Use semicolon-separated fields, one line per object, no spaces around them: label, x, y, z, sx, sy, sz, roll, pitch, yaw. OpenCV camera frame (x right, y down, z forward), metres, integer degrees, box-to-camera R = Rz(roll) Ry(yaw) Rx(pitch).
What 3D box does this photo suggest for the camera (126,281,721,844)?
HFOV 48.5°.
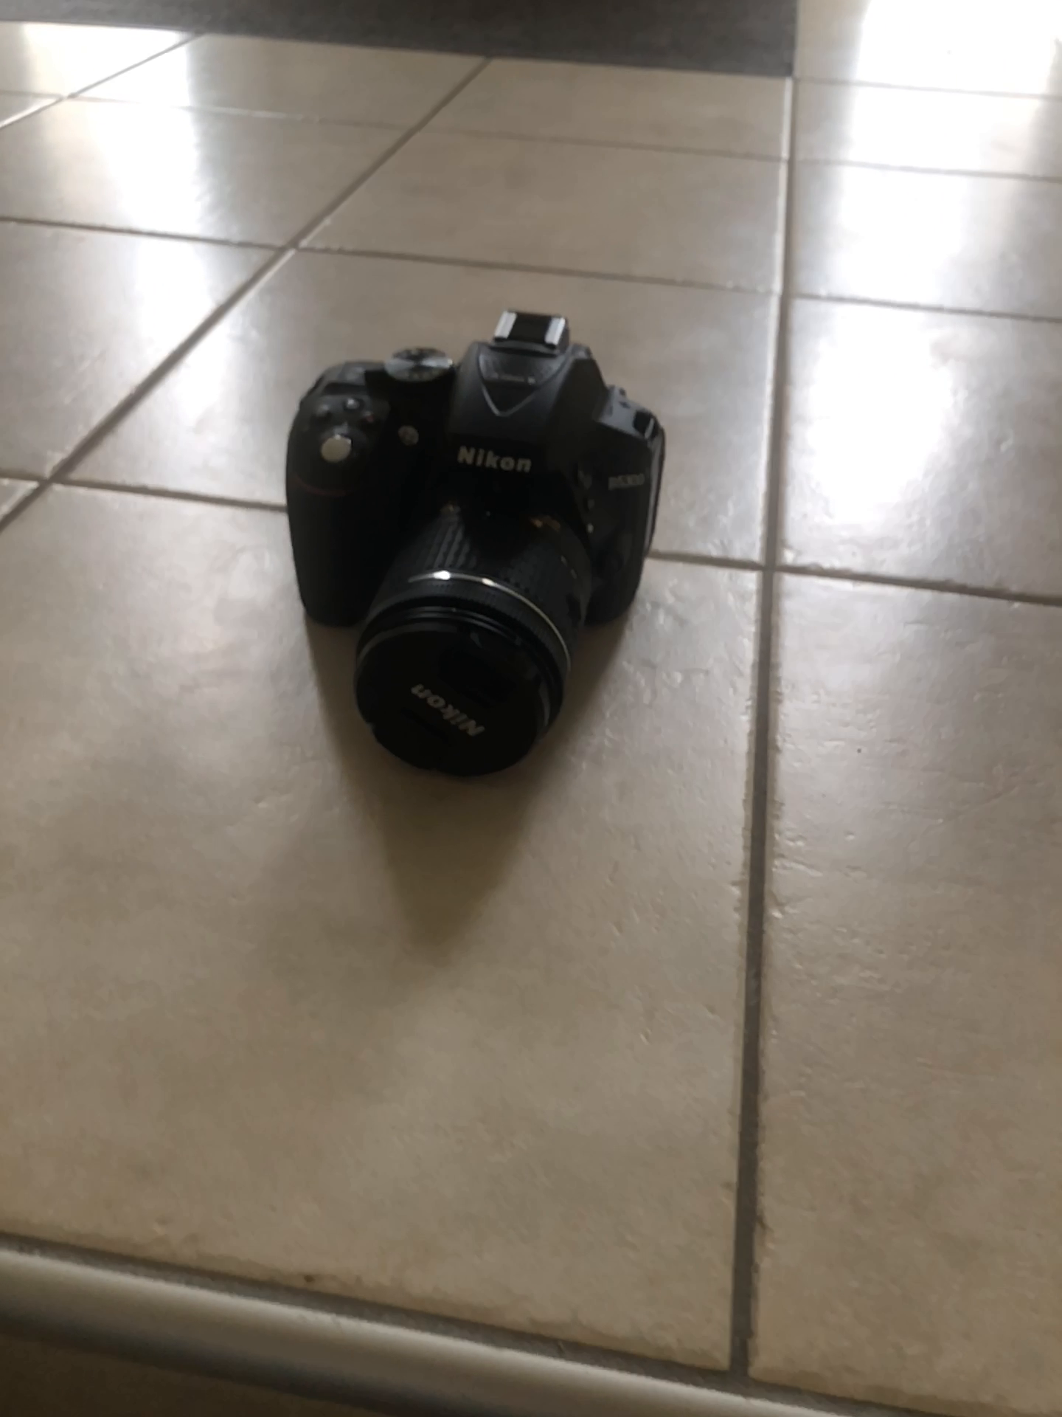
camera;-0.020;-0.057;0.382;0.140;0.089;0.161;8;42;7
